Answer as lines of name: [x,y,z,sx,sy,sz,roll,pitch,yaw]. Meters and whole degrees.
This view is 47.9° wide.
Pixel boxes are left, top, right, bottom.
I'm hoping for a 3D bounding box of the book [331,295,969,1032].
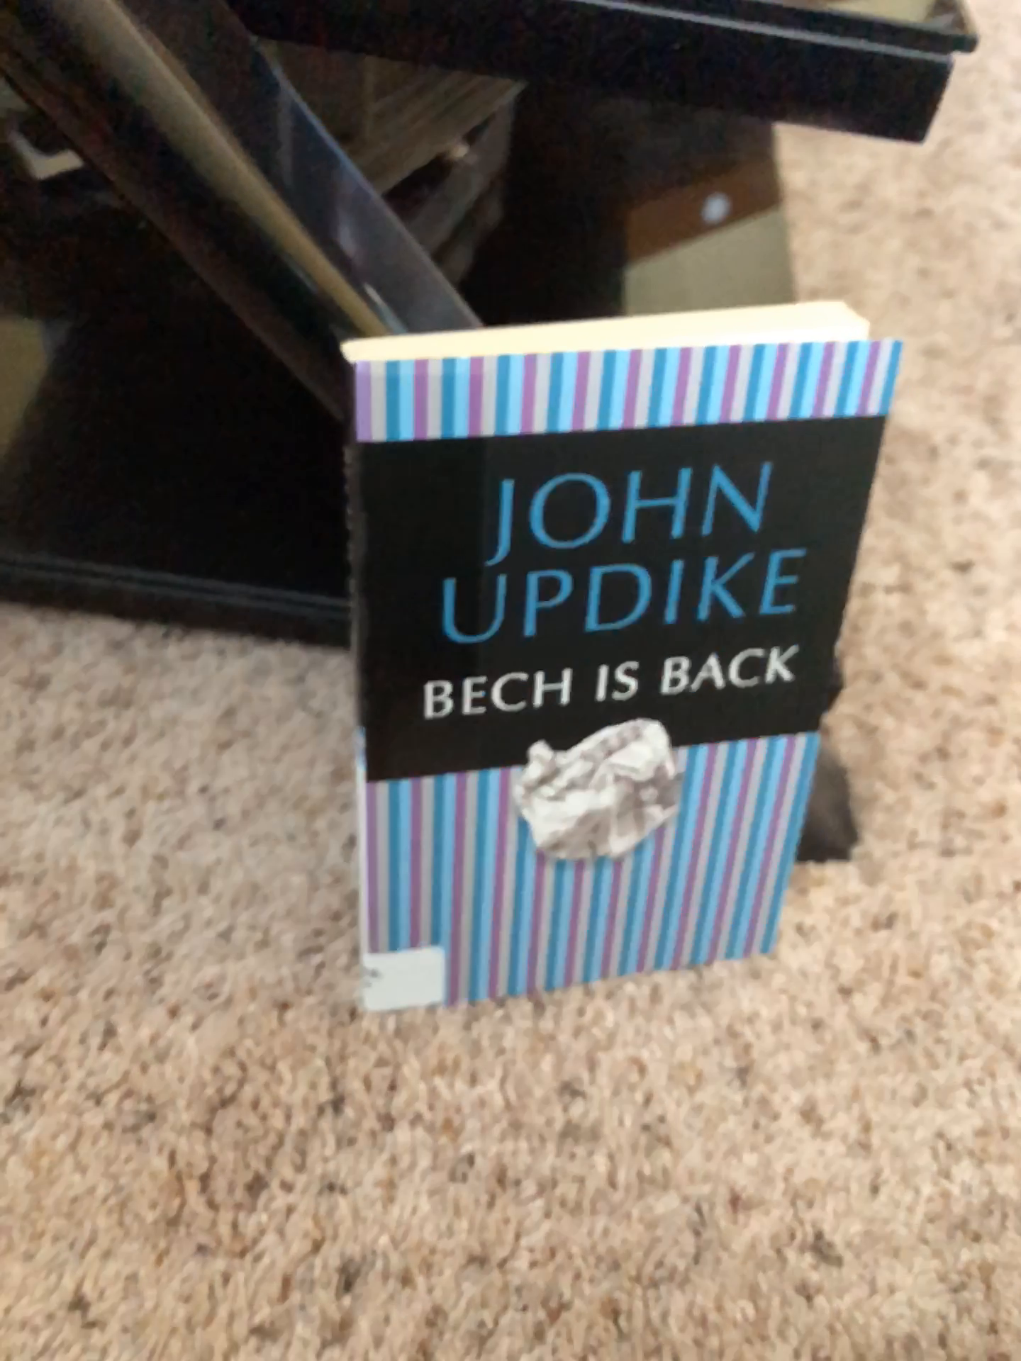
book: [0.027,0.006,0.306,0.135,0.201,0.030,-7,38,-14]
